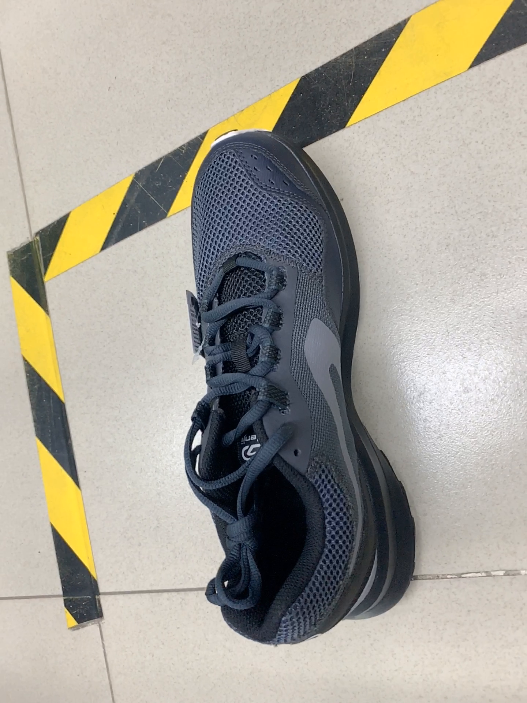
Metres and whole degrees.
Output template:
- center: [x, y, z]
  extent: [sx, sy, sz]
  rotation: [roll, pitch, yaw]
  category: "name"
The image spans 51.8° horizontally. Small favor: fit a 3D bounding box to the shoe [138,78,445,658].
- center: [0.013, 0.012, 0.315]
  extent: [0.110, 0.070, 0.280]
  rotation: [-13, 84, 30]
  category: "shoe"
